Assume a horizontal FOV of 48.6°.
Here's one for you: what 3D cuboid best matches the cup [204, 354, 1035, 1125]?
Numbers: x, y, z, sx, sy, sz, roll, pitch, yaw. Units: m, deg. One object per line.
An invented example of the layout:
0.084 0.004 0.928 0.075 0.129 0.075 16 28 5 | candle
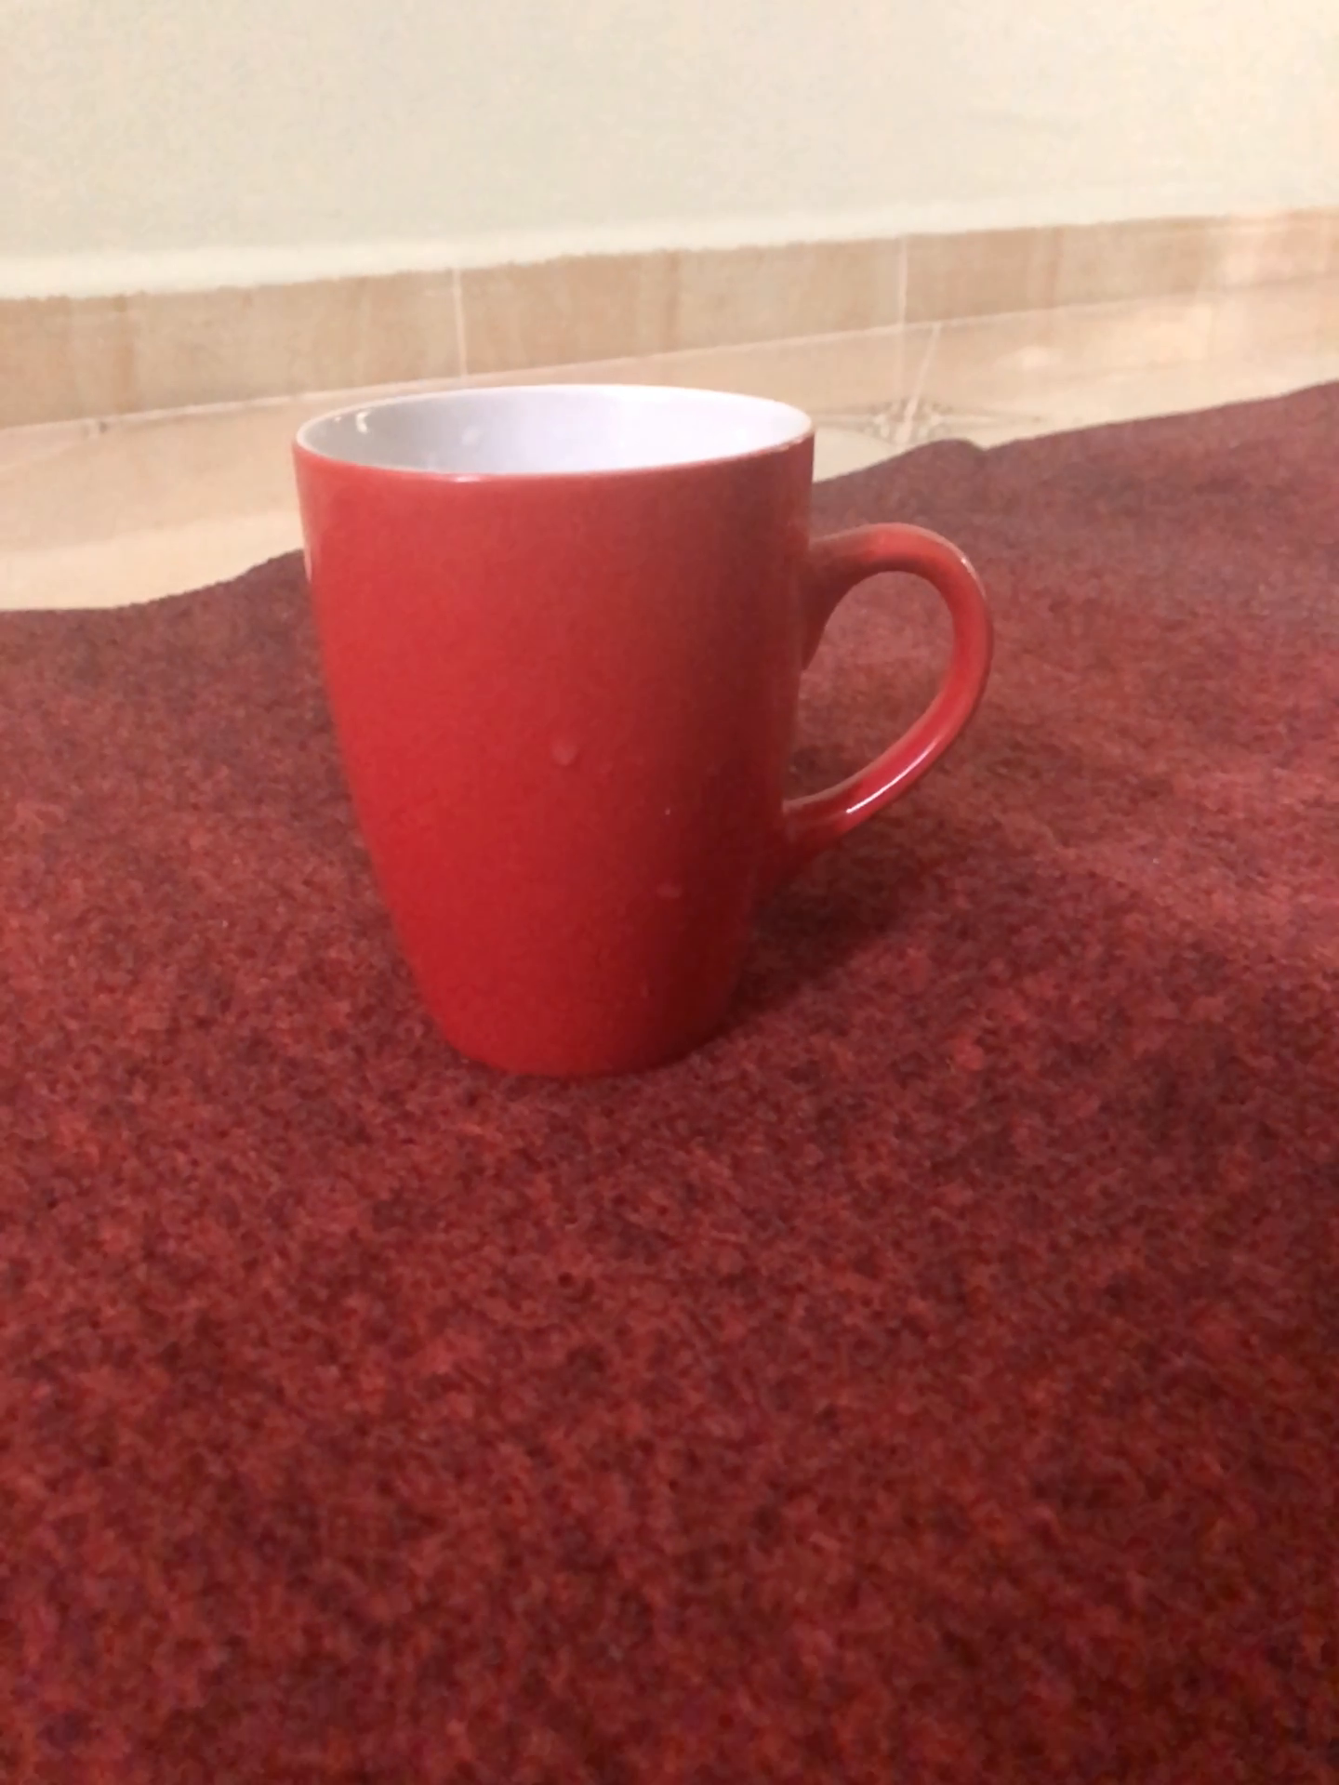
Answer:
-0.009 -0.035 0.256 0.109 0.094 0.078 -14 29 -24 | cup
